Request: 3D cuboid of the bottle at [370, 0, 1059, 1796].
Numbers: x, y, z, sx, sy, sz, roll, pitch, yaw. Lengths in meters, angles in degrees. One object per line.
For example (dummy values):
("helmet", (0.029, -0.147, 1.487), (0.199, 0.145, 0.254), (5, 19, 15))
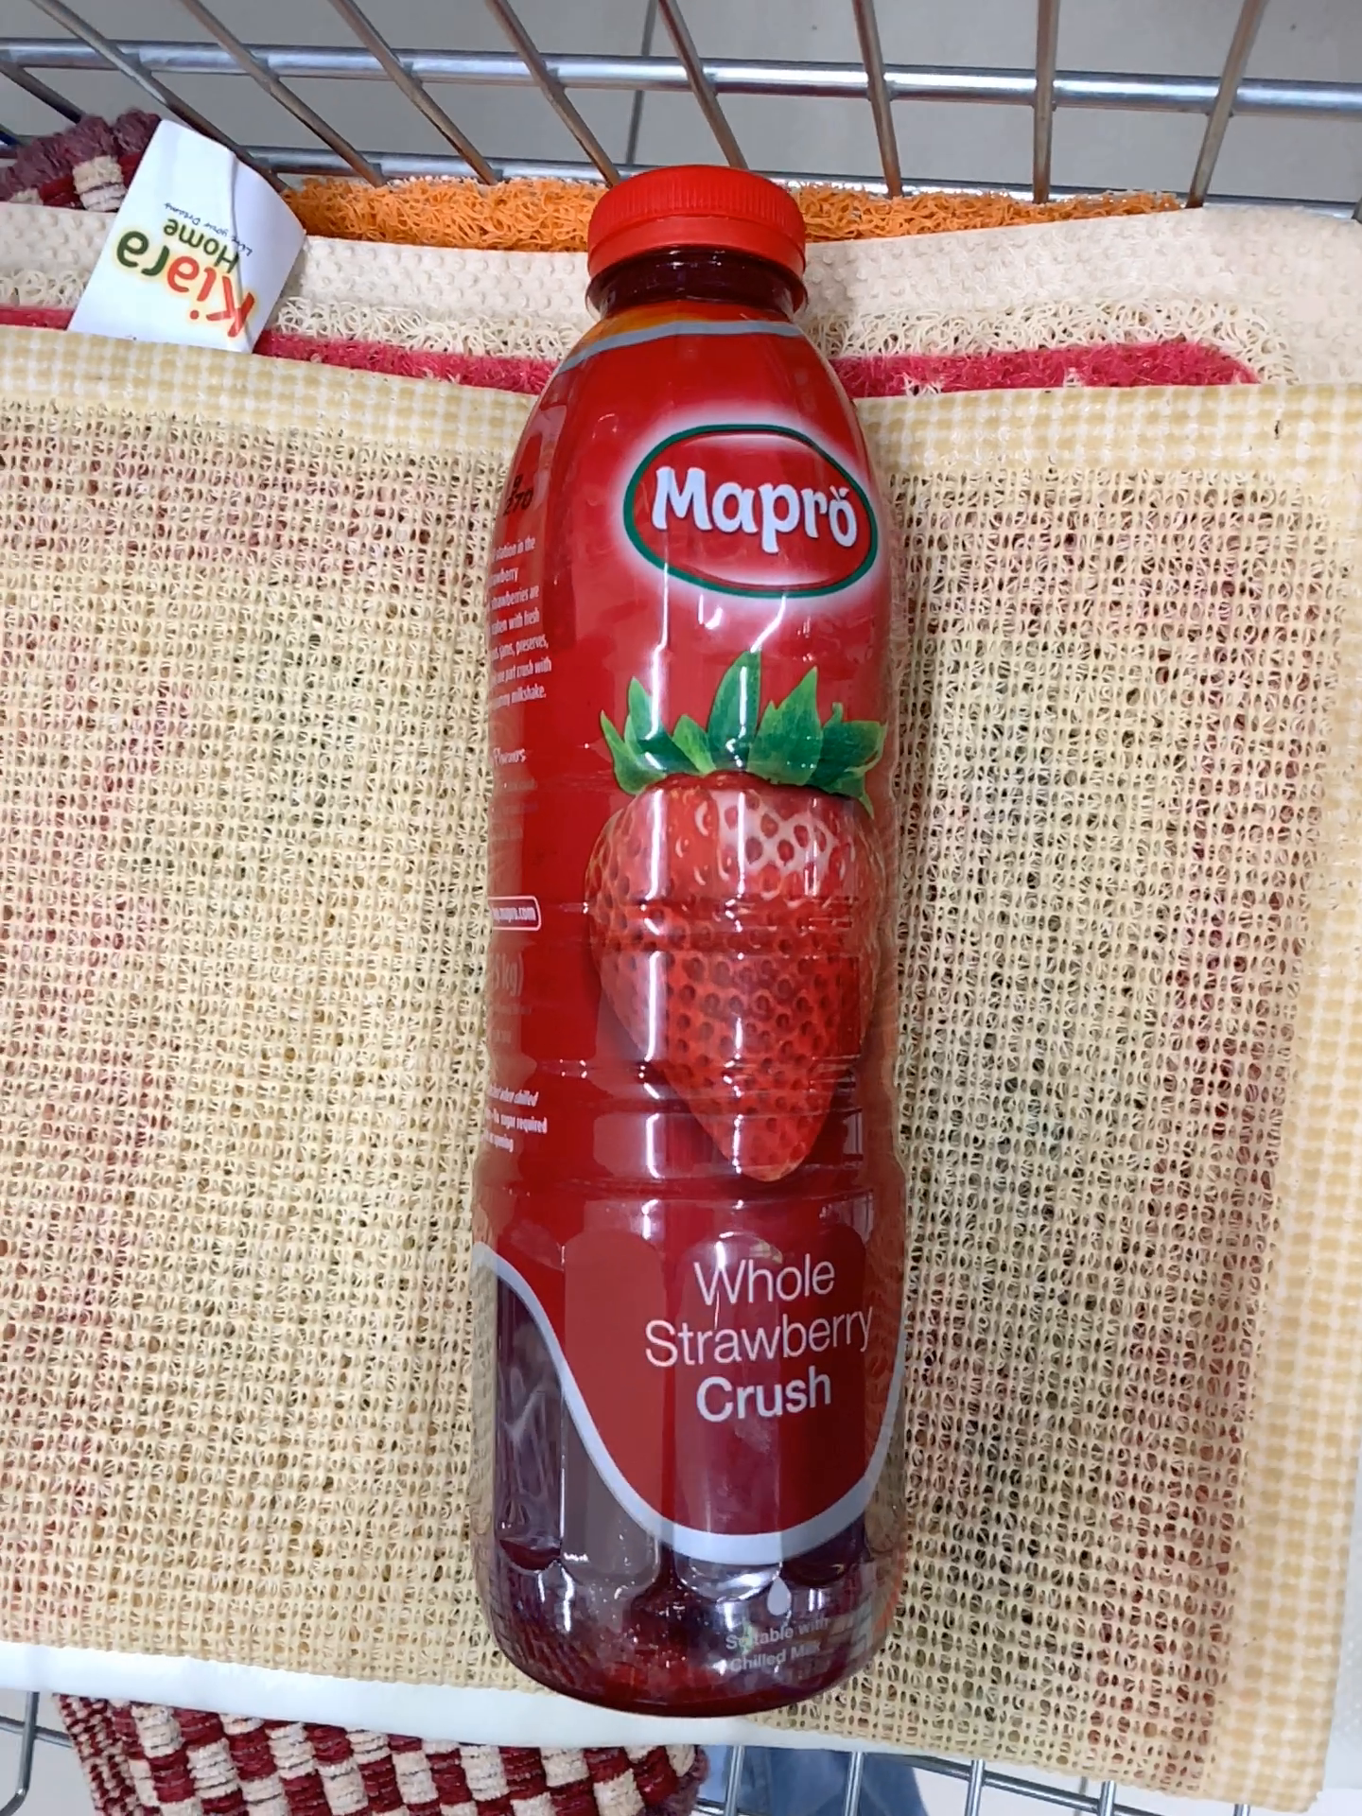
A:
("bottle", (-0.001, 0.000, 0.239), (0.090, 0.070, 0.250), (1, 94, -18))
